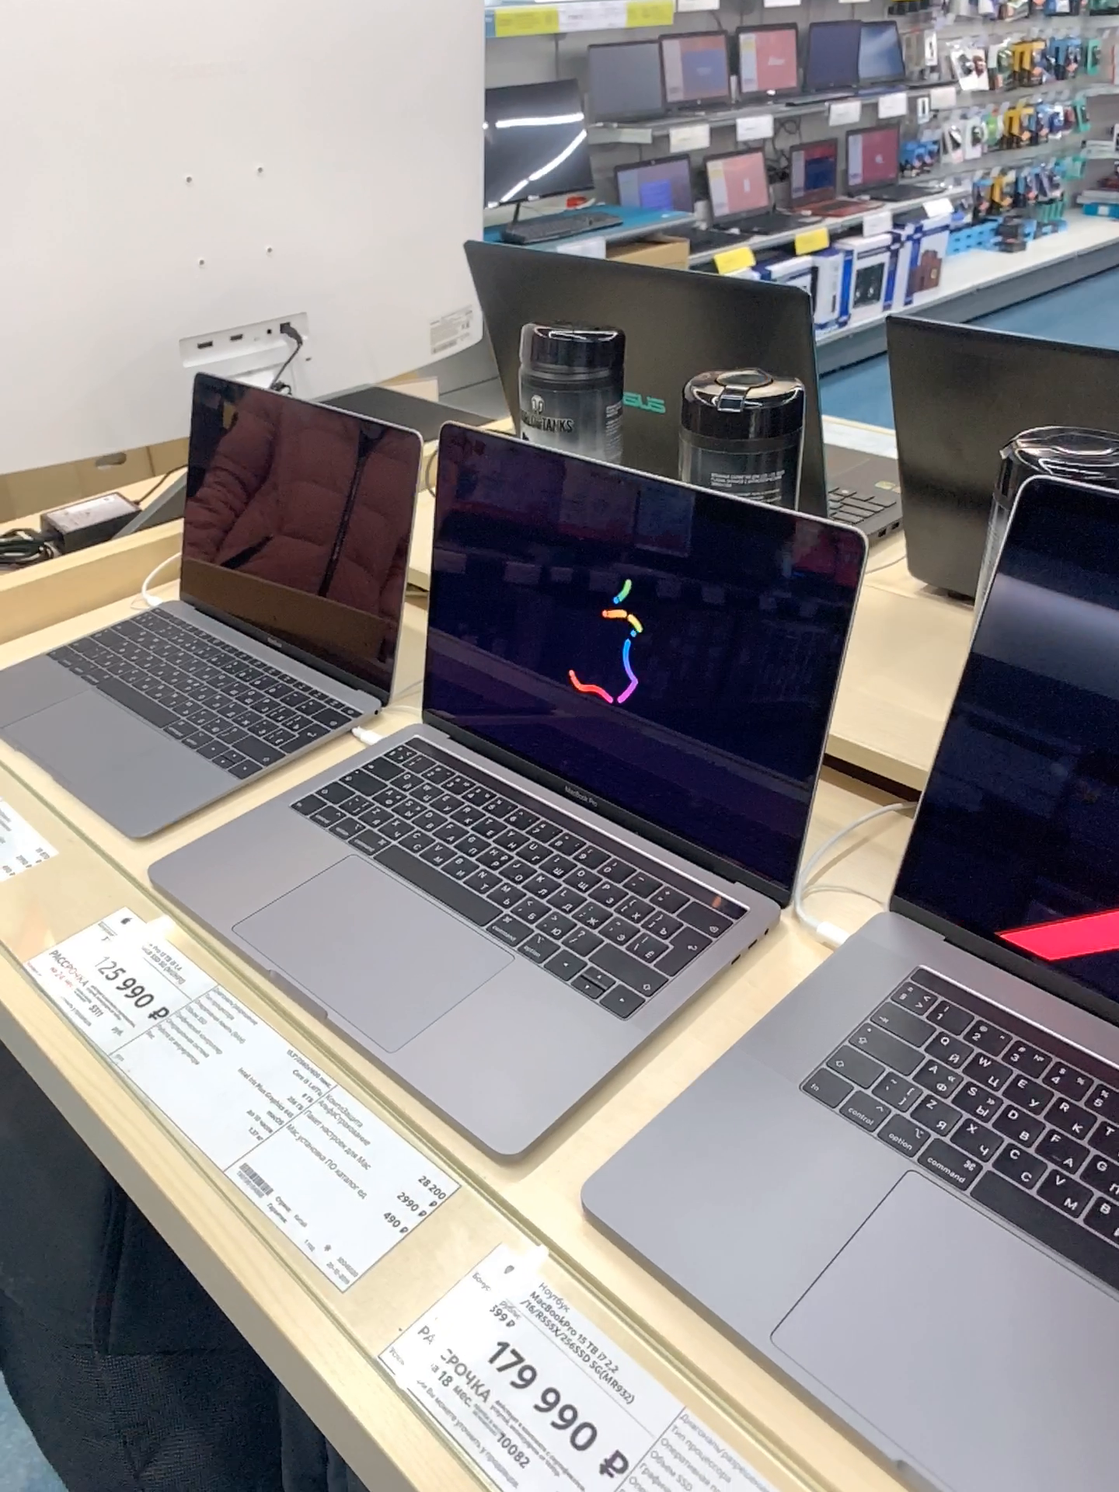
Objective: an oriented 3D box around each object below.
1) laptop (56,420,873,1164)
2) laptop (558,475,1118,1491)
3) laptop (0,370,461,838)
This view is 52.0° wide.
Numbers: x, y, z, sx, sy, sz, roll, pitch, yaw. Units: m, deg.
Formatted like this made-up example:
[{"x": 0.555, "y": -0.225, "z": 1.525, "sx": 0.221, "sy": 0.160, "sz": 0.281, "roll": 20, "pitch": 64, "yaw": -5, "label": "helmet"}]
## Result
[{"x": -0.046, "y": -0.013, "z": 0.601, "sx": 0.300, "sy": 0.195, "sz": 0.260, "roll": 25, "pitch": 42, "yaw": 36, "label": "laptop"}, {"x": 0.241, "y": 0.087, "z": 0.397, "sx": 0.347, "sy": 0.210, "sz": 0.327, "roll": 26, "pitch": 42, "yaw": 38, "label": "laptop"}, {"x": -0.269, "y": -0.124, "z": 0.810, "sx": 0.281, "sy": 0.172, "sz": 0.266, "roll": 25, "pitch": 43, "yaw": 36, "label": "laptop"}]
